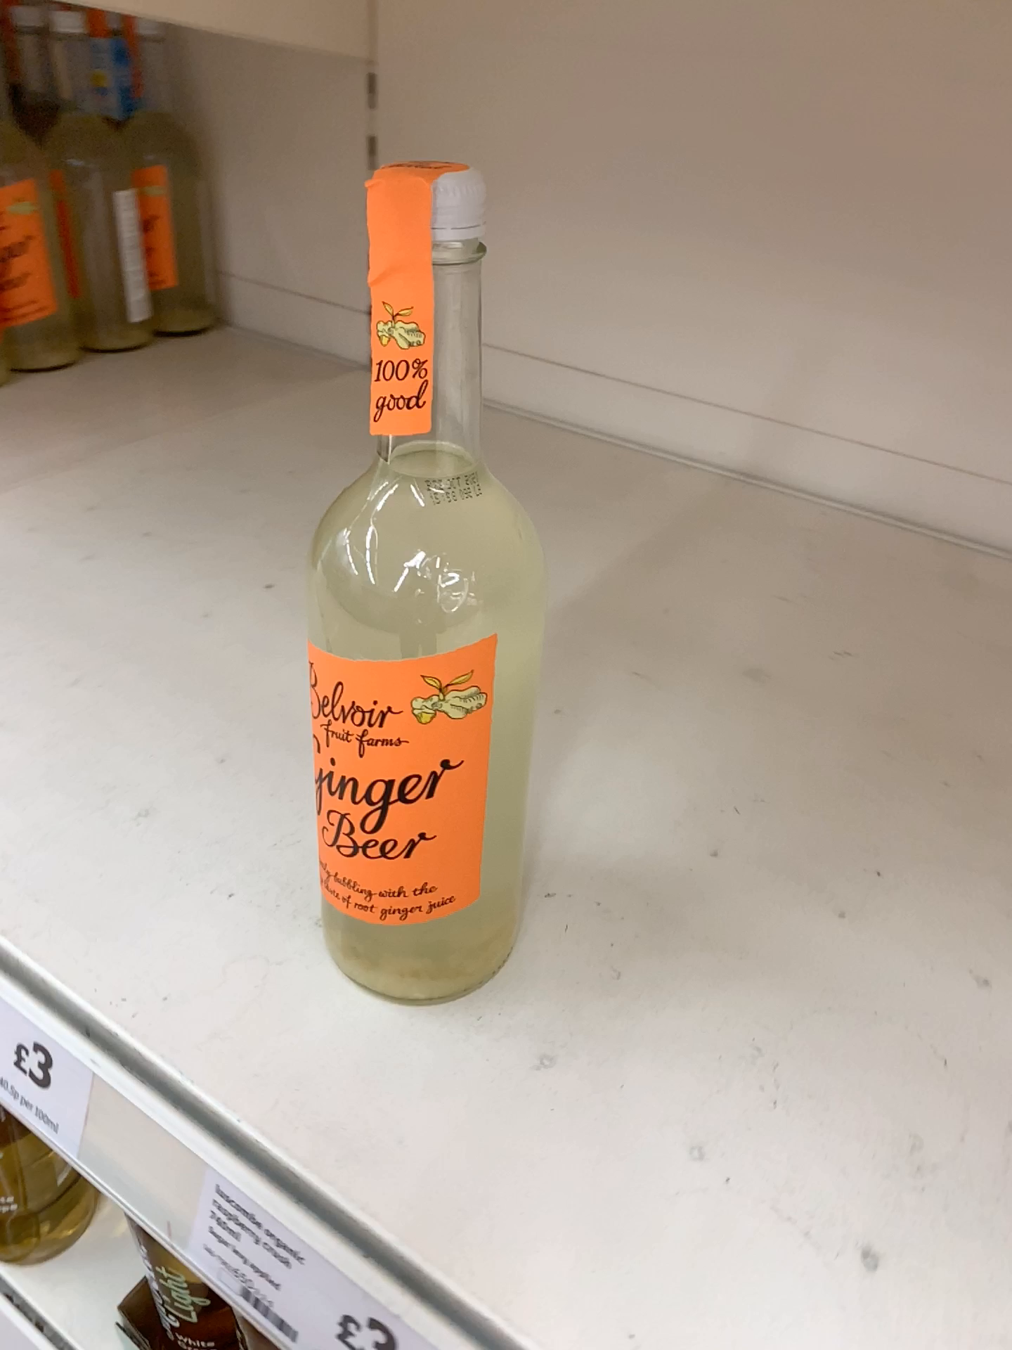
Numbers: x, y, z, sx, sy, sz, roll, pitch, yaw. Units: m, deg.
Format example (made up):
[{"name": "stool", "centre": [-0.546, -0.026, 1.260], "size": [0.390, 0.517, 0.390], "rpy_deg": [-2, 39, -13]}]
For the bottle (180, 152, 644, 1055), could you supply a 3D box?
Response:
[{"name": "bottle", "centre": [-0.031, -0.014, 0.351], "size": [0.084, 0.277, 0.091], "rpy_deg": [3, 32, -2]}]
